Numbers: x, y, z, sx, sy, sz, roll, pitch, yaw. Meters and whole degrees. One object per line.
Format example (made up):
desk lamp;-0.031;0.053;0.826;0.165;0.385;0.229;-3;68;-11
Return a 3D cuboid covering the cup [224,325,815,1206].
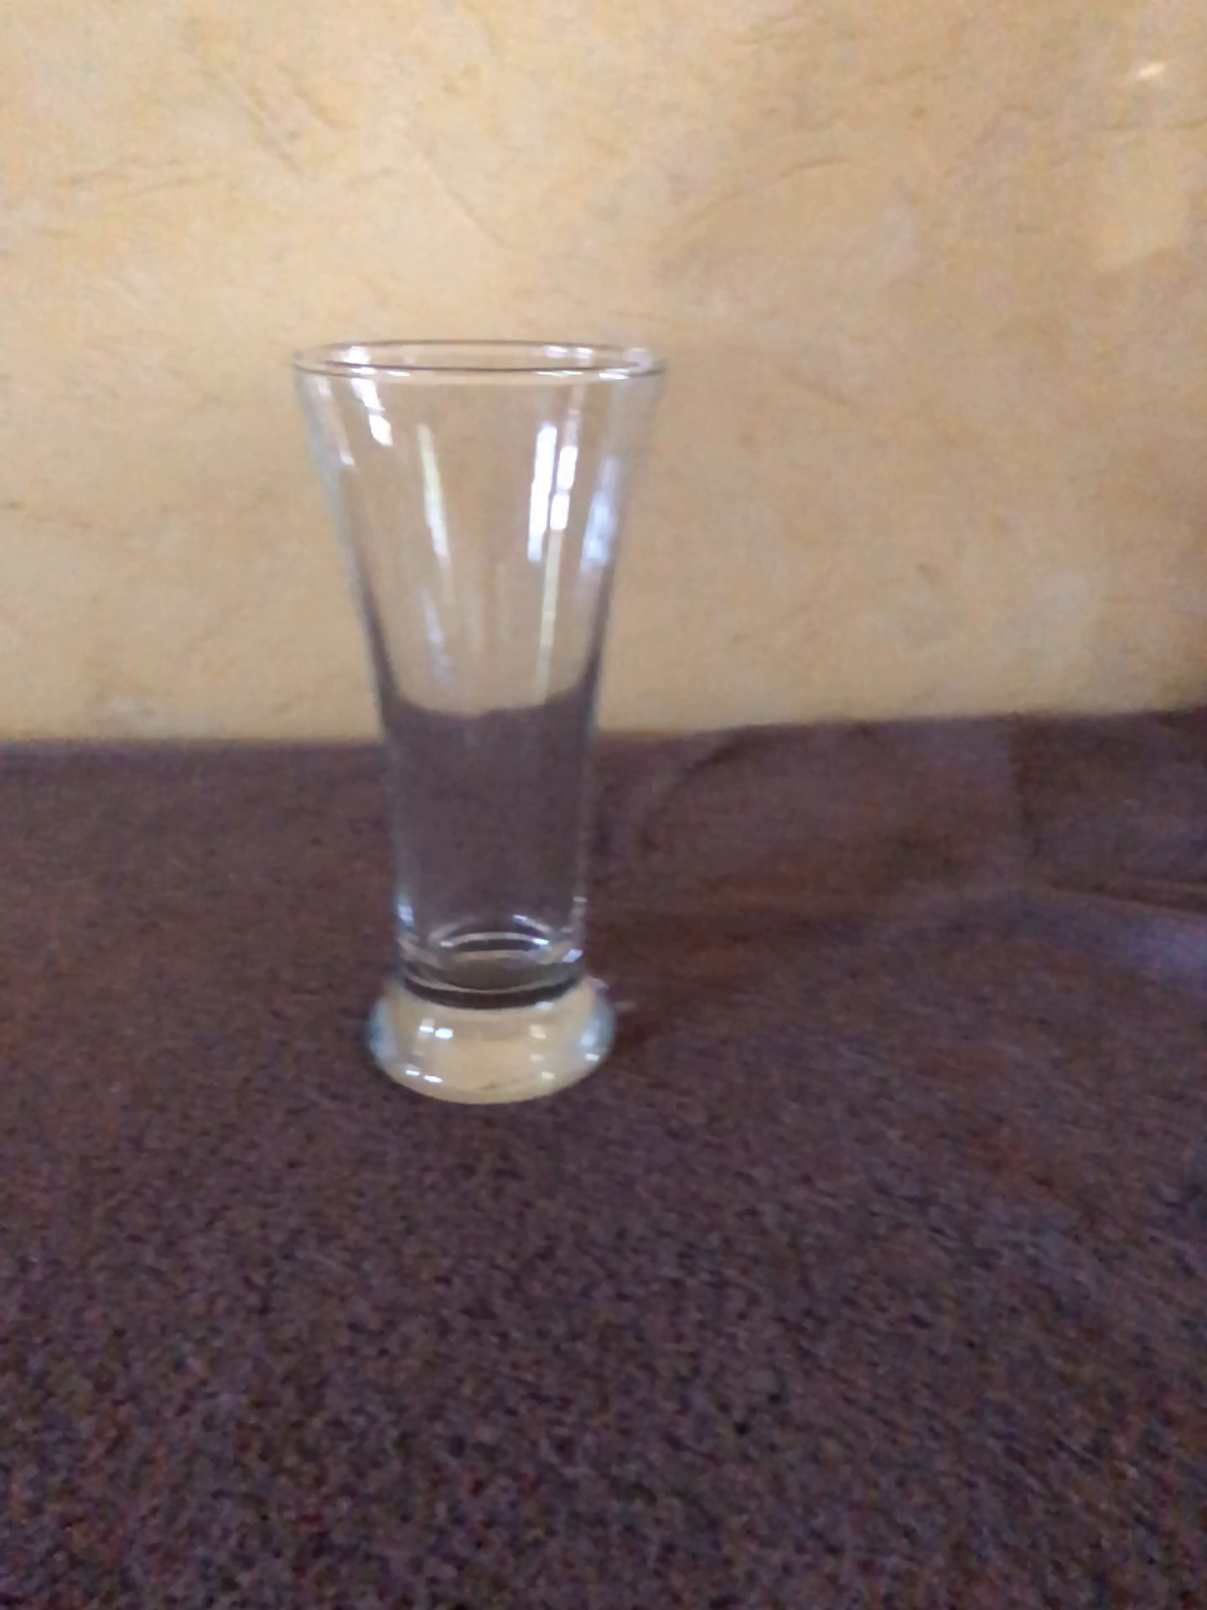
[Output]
cup;-0.019;-0.015;0.273;0.080;0.149;0.080;1;22;0
